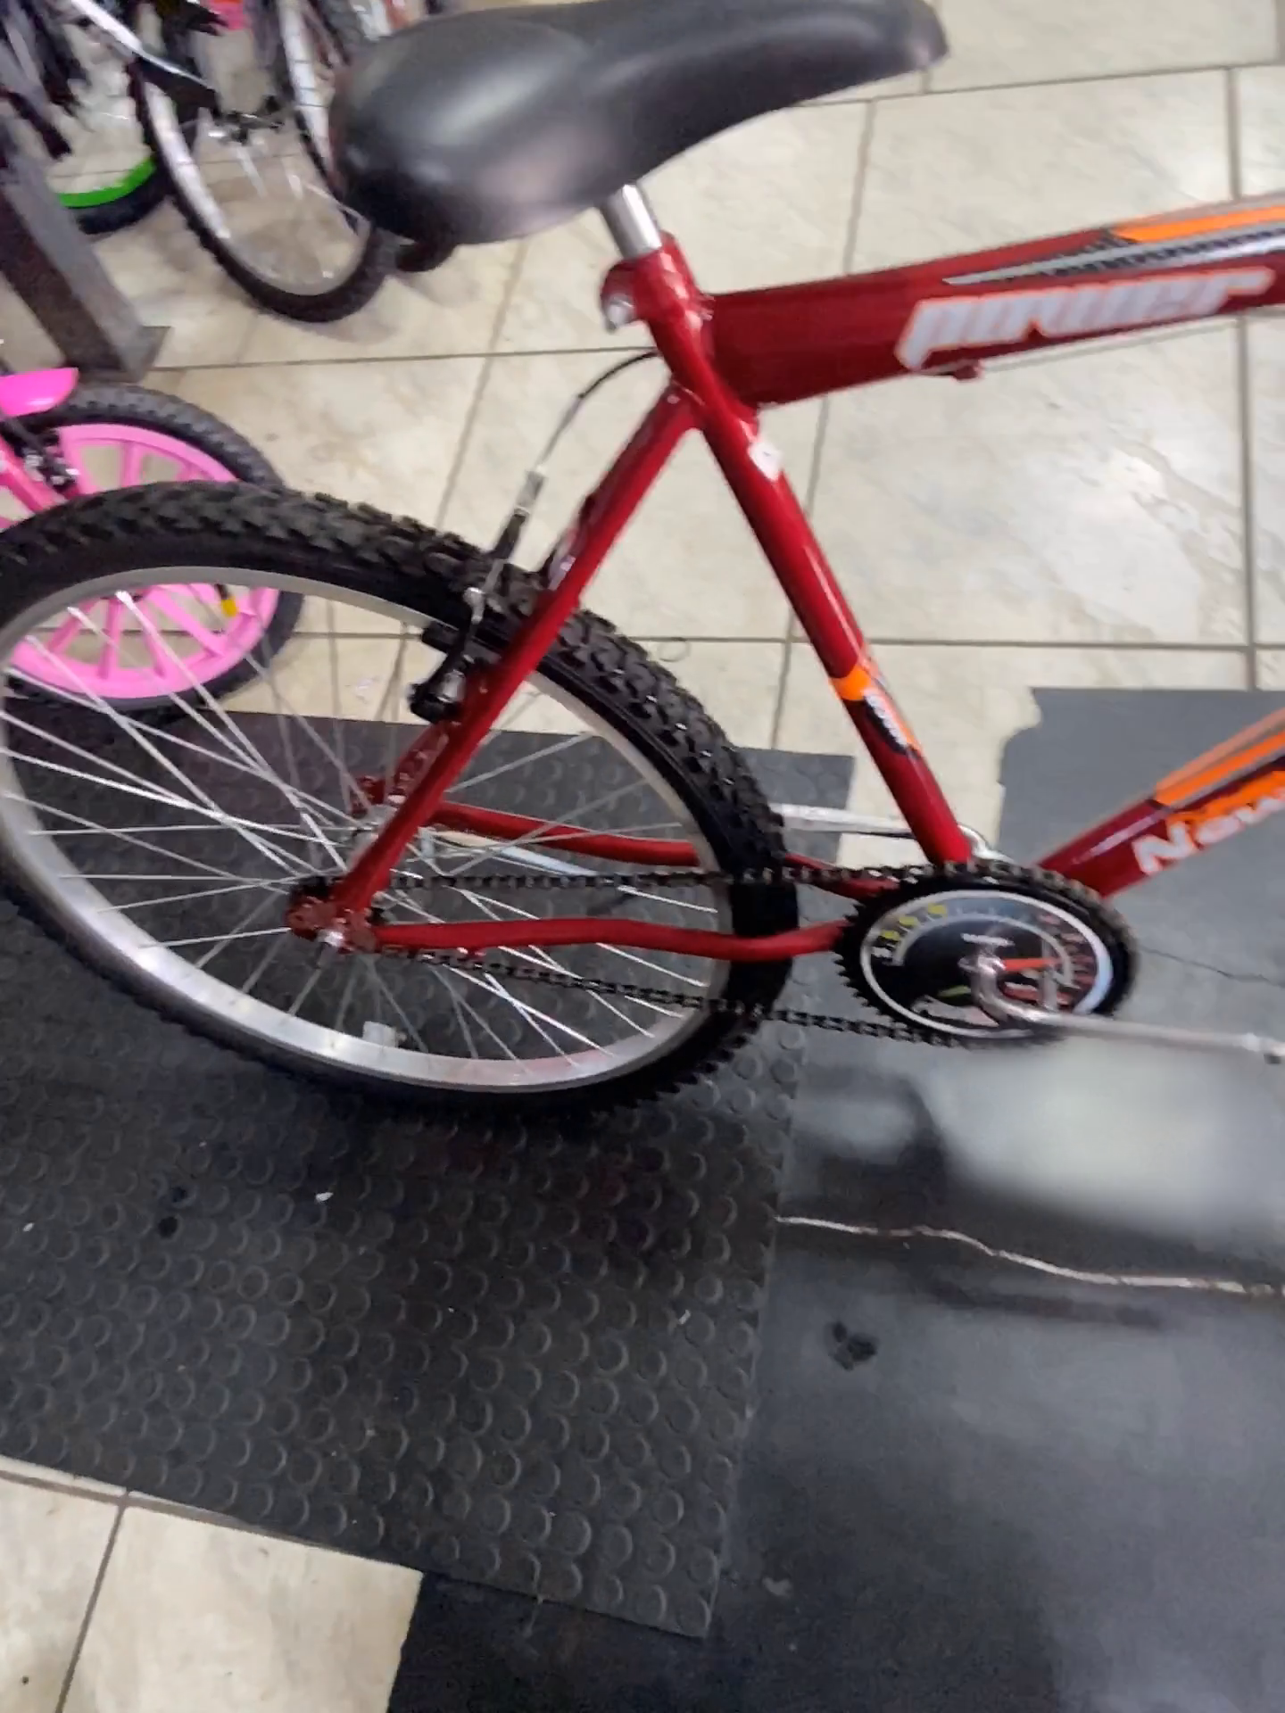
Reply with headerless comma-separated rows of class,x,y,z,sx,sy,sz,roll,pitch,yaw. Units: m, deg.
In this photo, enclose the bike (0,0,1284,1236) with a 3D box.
bike,0.167,-0.244,0.717,1.582,1.031,0.567,-7,60,14
